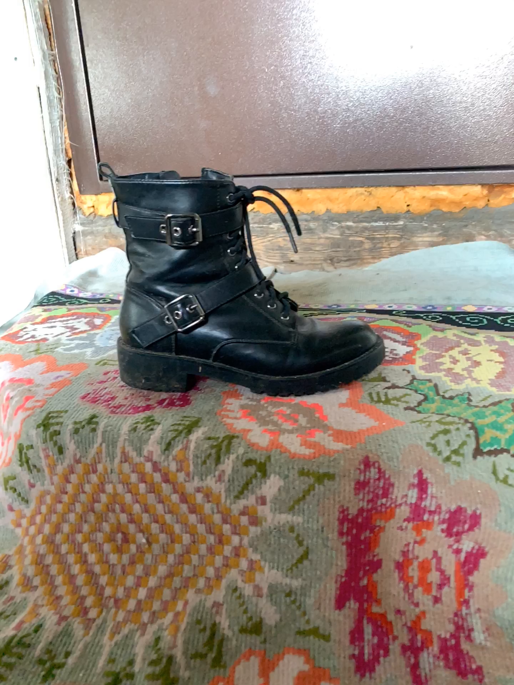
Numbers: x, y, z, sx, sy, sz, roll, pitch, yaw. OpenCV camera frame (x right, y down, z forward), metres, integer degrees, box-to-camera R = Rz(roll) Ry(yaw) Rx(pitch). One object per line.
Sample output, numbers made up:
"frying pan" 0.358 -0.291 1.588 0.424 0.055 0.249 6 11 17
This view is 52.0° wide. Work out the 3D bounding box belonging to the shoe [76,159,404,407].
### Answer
"shoe" -0.008 -0.052 0.454 0.240 0.189 0.091 0 19 7
